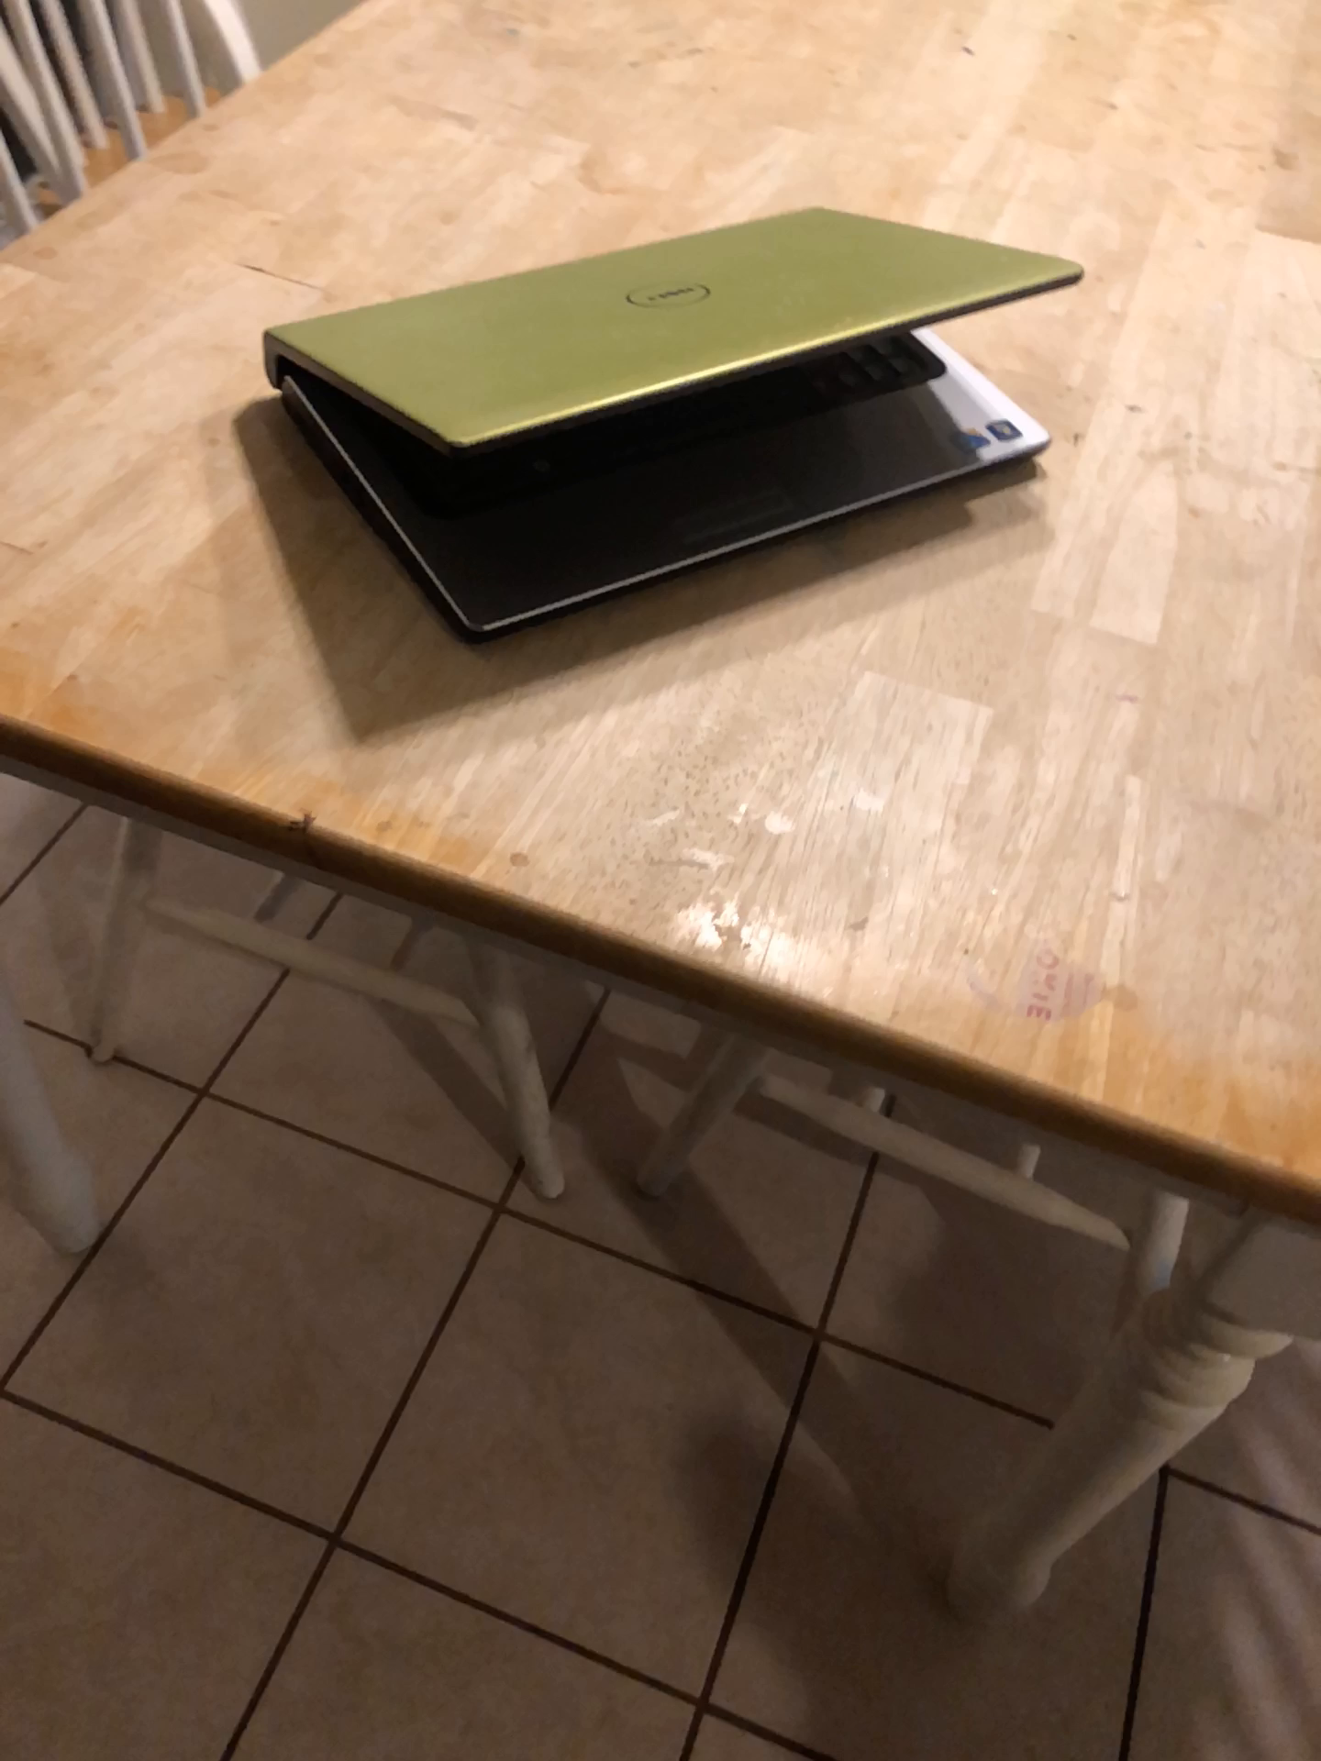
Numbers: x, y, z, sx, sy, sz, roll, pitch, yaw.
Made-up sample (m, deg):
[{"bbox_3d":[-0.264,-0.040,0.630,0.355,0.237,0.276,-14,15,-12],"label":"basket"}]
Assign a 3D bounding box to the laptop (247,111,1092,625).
[{"bbox_3d":[0.006,-0.286,0.762,0.359,0.076,0.228,-23,59,-23],"label":"laptop"}]
